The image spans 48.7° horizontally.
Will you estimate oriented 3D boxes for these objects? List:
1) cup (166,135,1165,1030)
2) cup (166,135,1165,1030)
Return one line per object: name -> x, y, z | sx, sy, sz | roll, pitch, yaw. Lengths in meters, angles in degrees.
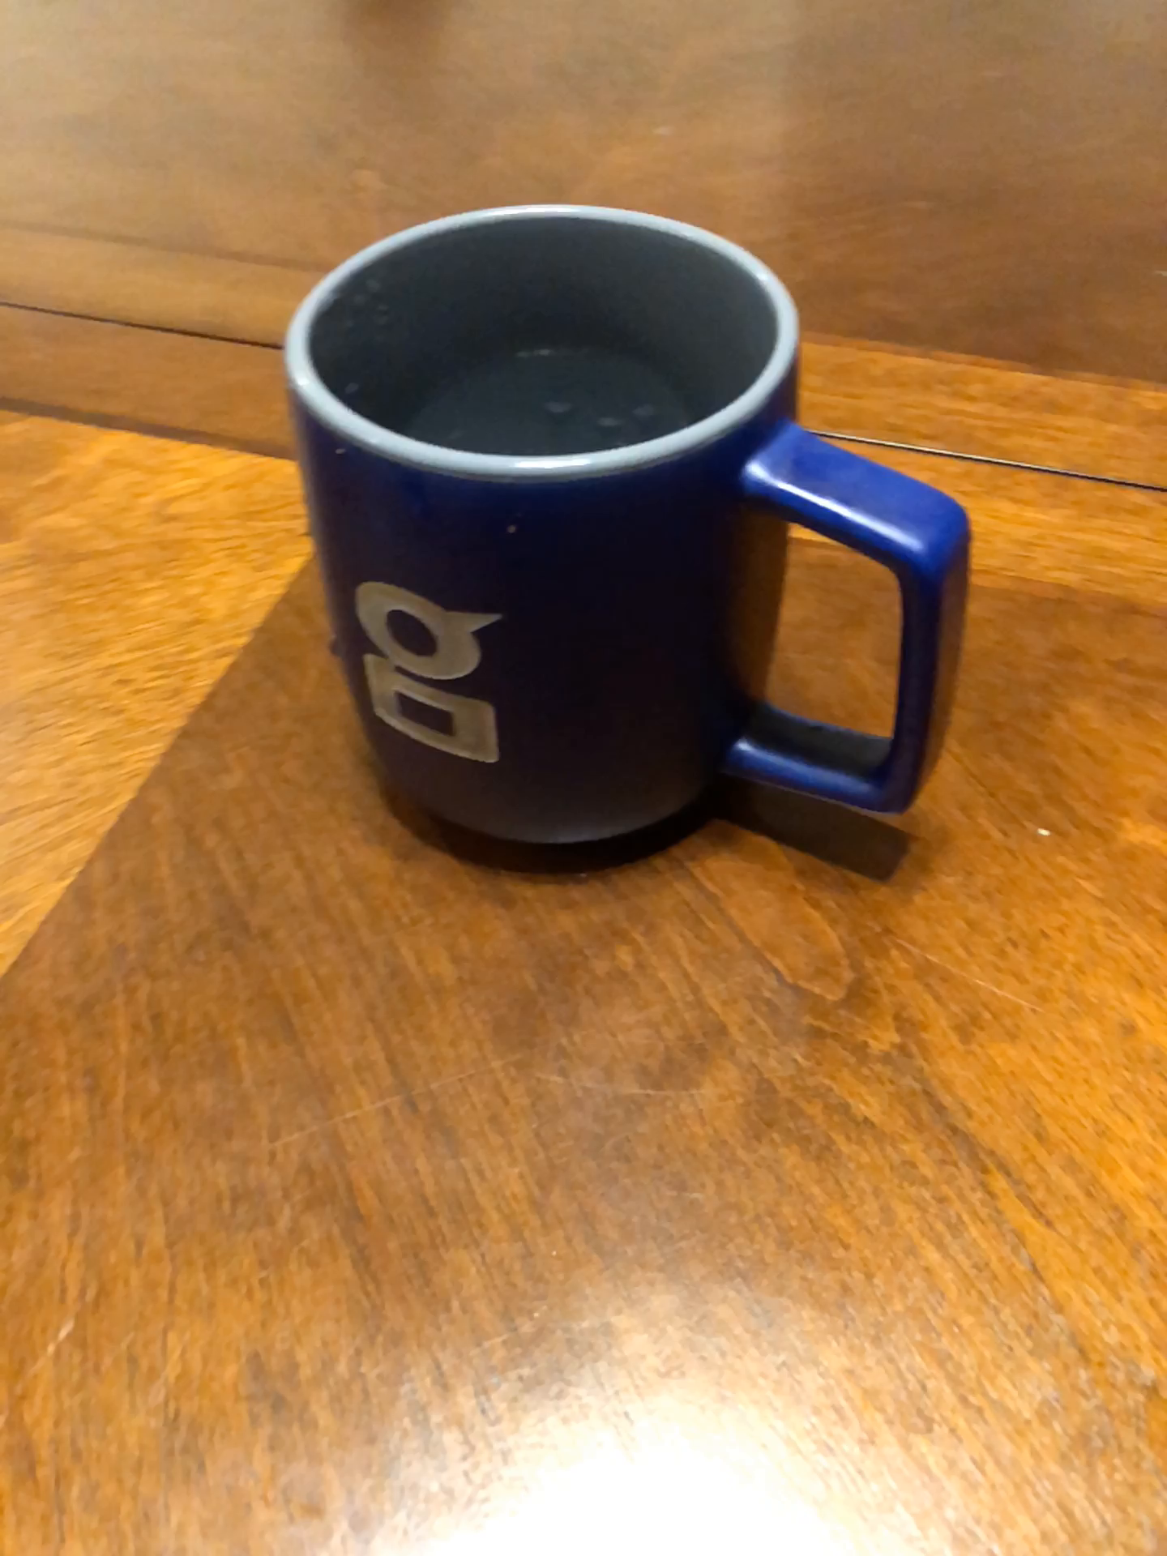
cup -> 0.016, -0.045, 0.257 | 0.140, 0.099, 0.100 | 23, 53, 20
cup -> 0.016, -0.045, 0.257 | 0.140, 0.099, 0.100 | 23, 53, 20
